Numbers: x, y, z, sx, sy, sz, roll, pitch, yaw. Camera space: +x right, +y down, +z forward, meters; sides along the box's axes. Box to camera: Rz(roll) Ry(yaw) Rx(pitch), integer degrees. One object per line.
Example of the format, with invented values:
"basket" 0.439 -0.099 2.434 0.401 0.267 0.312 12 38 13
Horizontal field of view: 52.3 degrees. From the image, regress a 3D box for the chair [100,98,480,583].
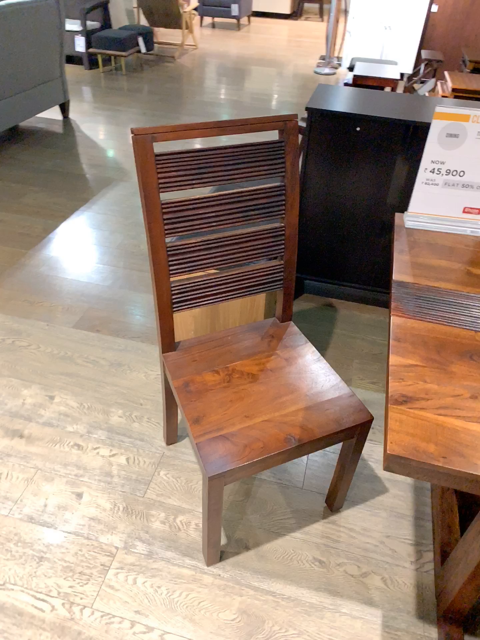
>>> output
"chair" 0.039 0.066 1.215 0.520 0.996 0.532 -14 42 -20
